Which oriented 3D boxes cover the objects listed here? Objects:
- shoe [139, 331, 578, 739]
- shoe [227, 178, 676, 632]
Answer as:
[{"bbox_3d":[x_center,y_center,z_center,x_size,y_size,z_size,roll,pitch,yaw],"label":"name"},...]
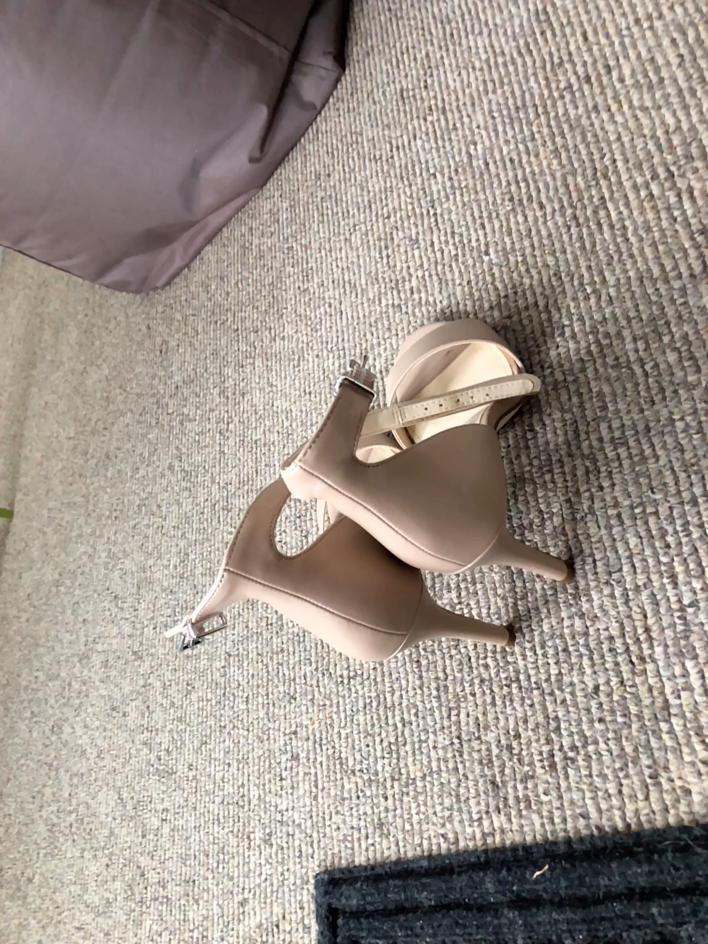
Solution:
[{"bbox_3d":[-0.010,0.031,0.450,0.105,0.144,0.207,-57,40,13],"label":"shoe"},{"bbox_3d":[0.042,-0.038,0.432,0.099,0.154,0.207,-48,43,23],"label":"shoe"}]
